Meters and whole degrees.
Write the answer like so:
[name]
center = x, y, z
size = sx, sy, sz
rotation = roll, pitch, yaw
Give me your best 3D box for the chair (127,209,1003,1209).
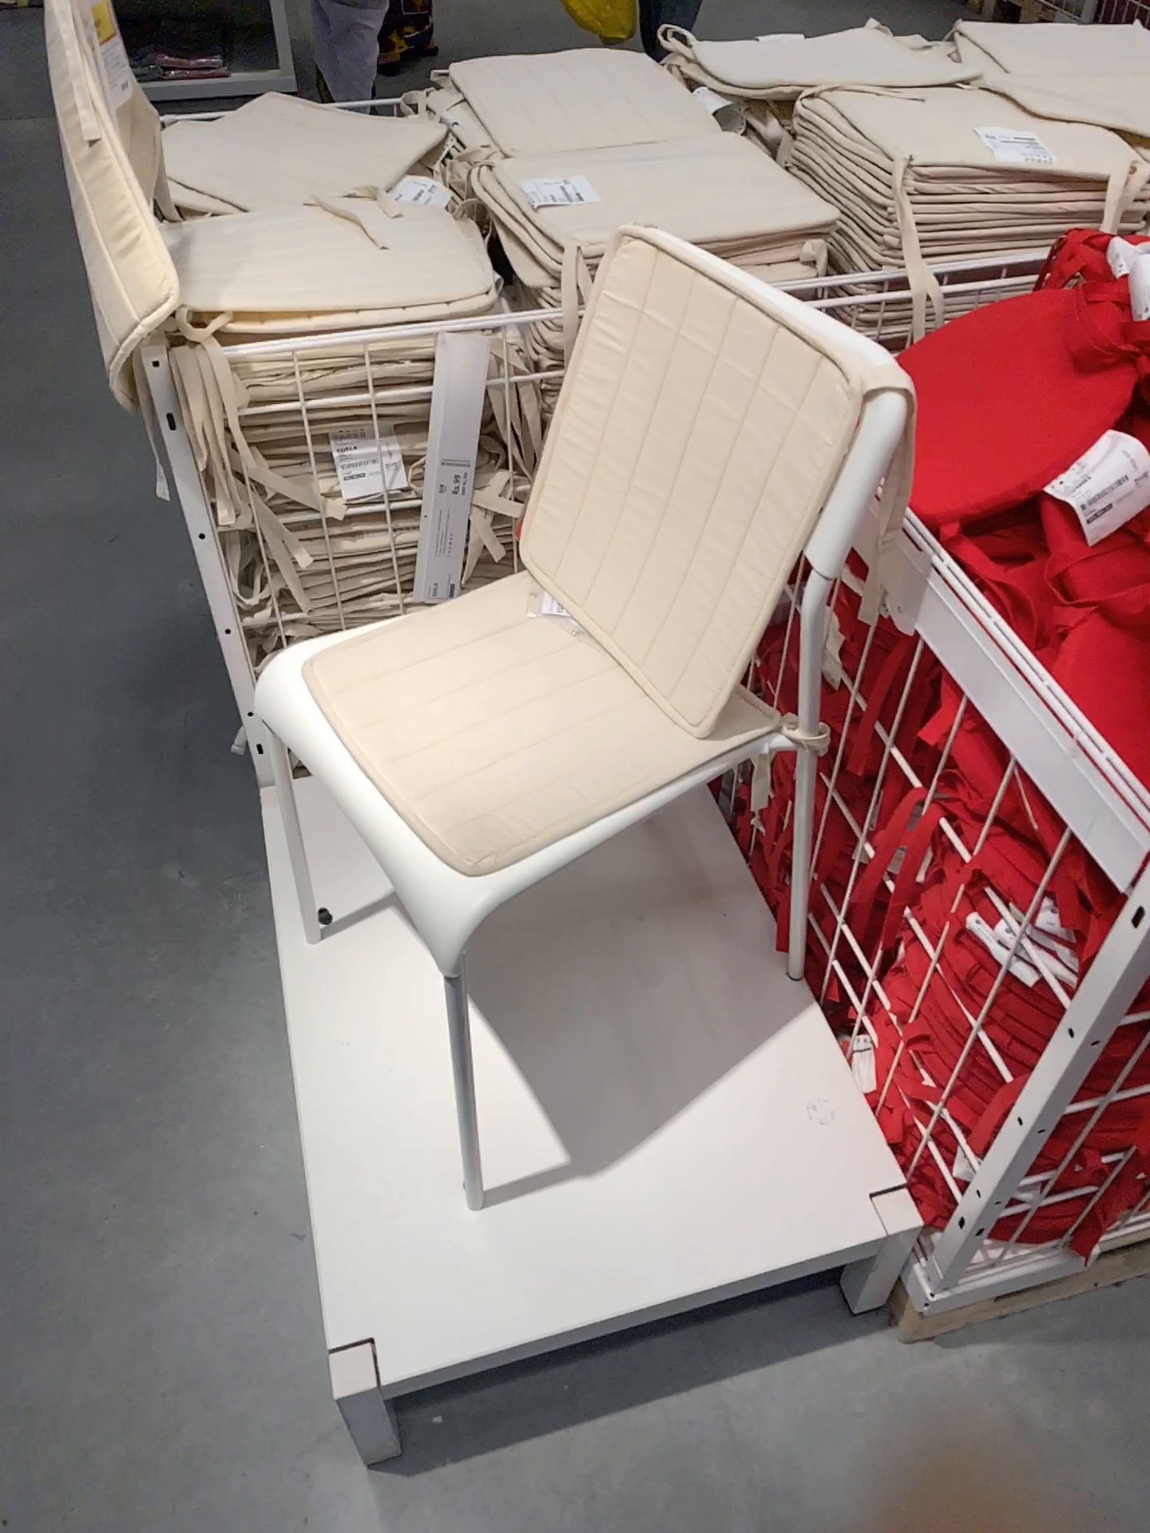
[chair]
center = -0.021, -0.045, 1.088
size = 0.480, 0.697, 0.431
rotation = -25, 50, -23
